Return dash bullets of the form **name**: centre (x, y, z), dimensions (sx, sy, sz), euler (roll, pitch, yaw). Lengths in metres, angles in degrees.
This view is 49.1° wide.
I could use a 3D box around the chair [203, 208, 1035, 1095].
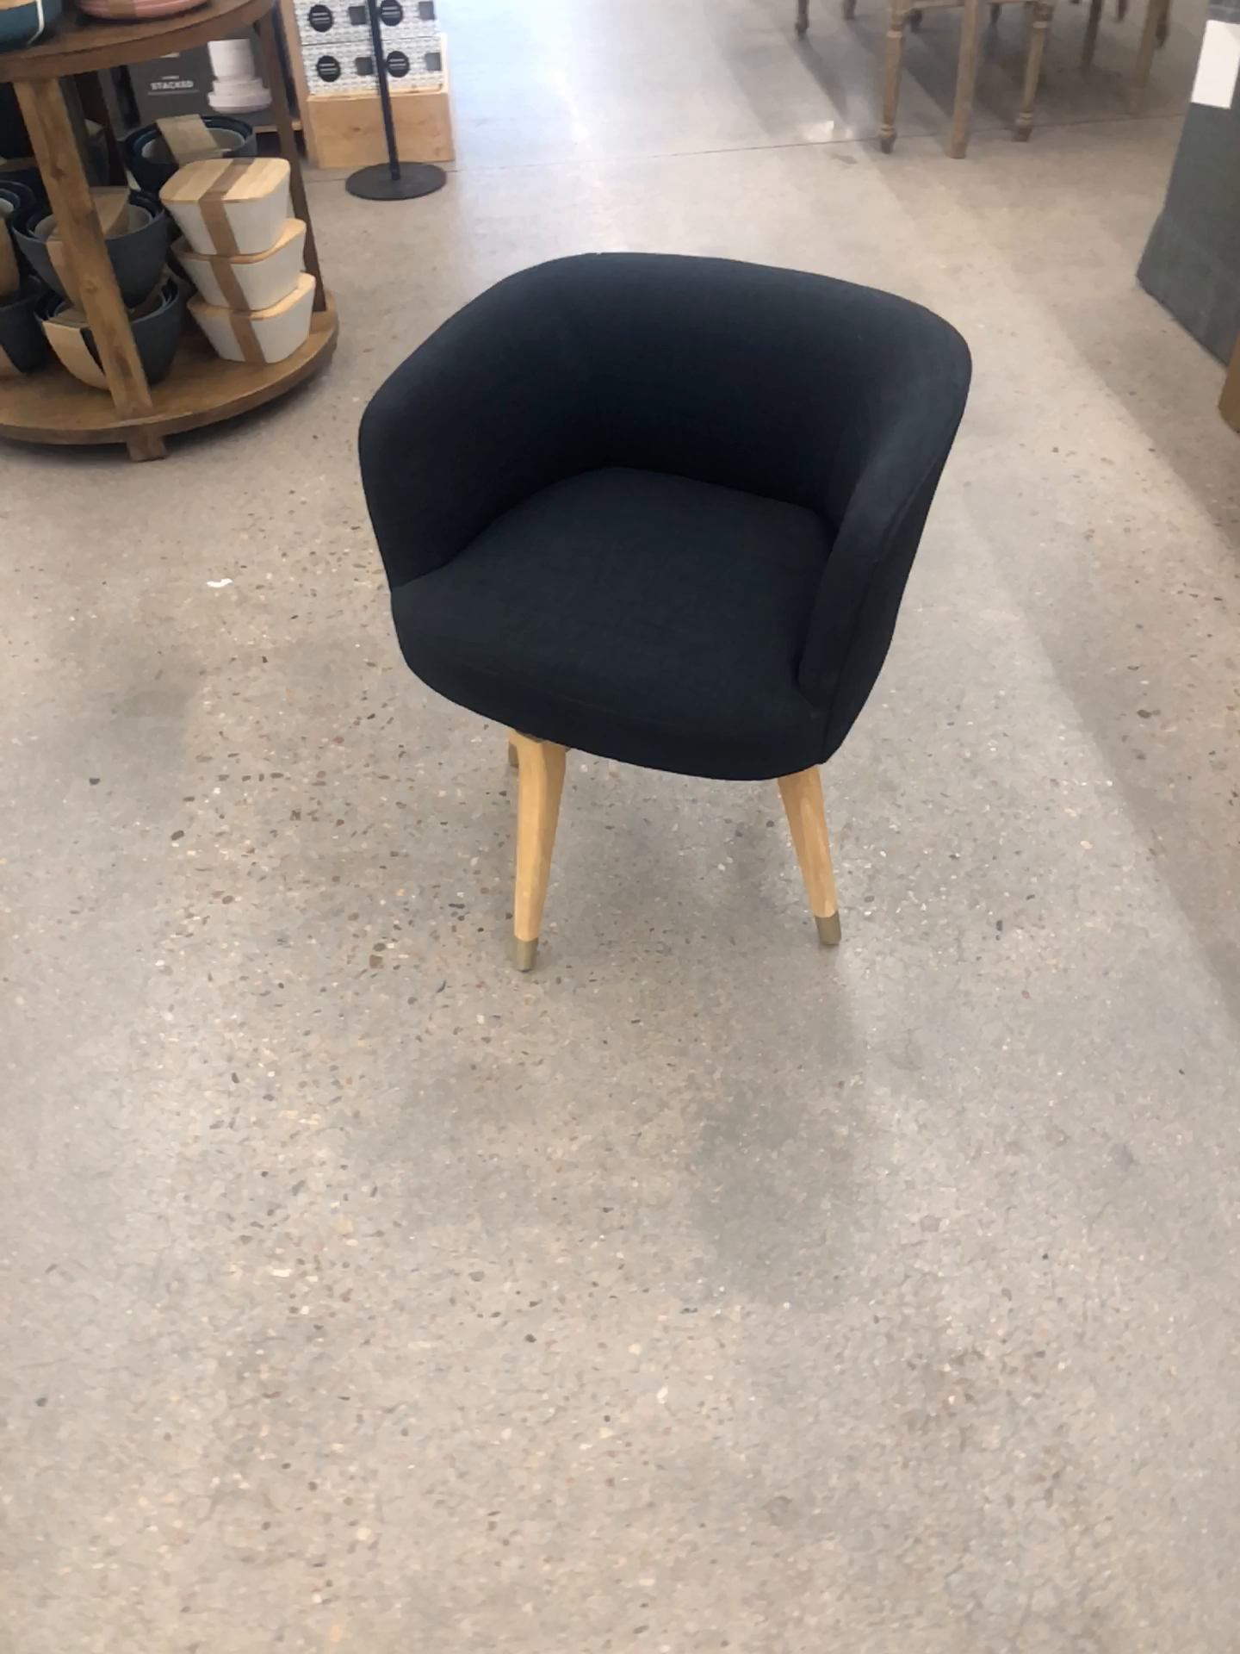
- **chair**: centre (0.028, -0.230, 1.592), dimensions (0.603, 0.670, 0.605), euler (23, 50, 25)
